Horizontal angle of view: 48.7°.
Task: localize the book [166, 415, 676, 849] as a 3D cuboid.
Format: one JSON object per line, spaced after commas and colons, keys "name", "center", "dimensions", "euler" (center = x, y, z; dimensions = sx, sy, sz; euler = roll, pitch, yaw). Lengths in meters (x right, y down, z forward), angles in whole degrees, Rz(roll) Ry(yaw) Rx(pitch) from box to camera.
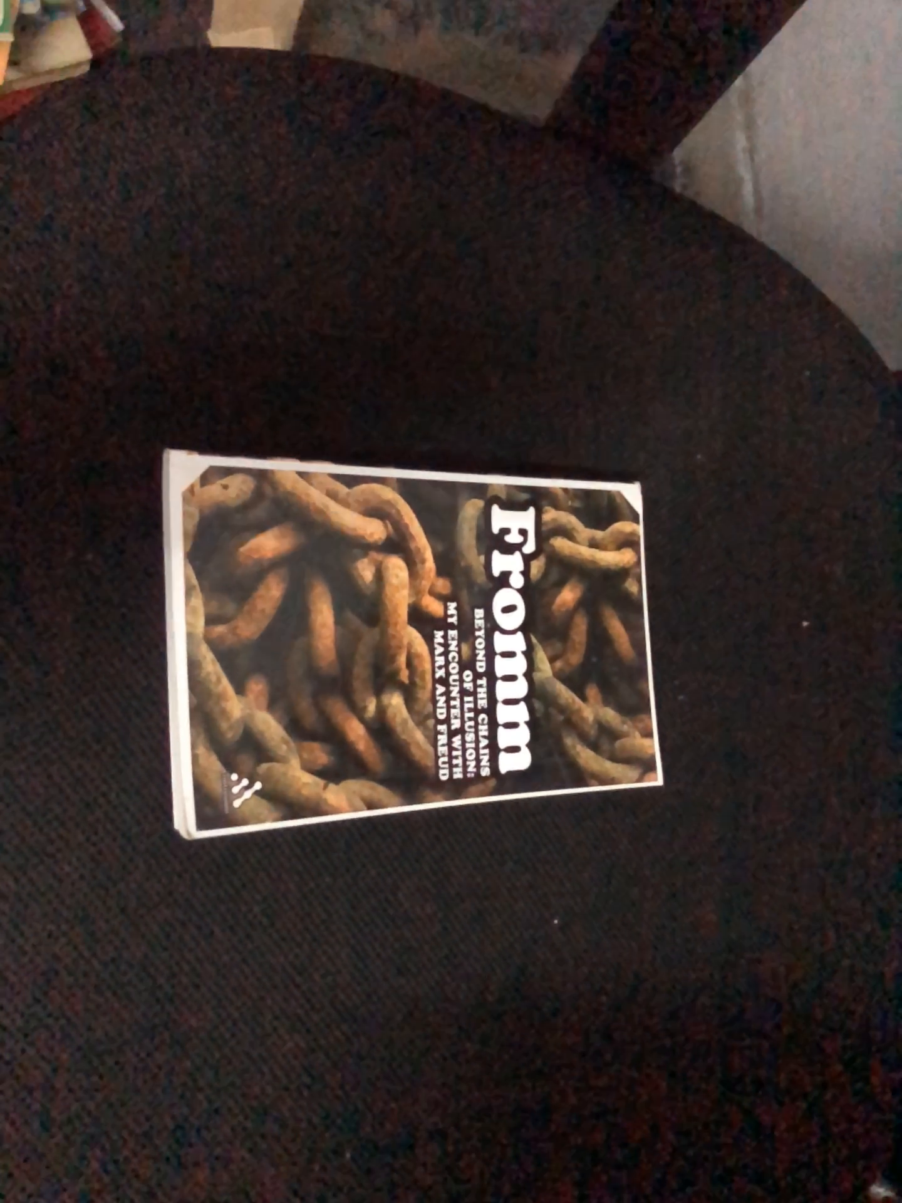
{"name": "book", "center": [-0.005, 0.011, 0.375], "dimensions": [0.195, 0.016, 0.144], "euler": [2, 80, -24]}
